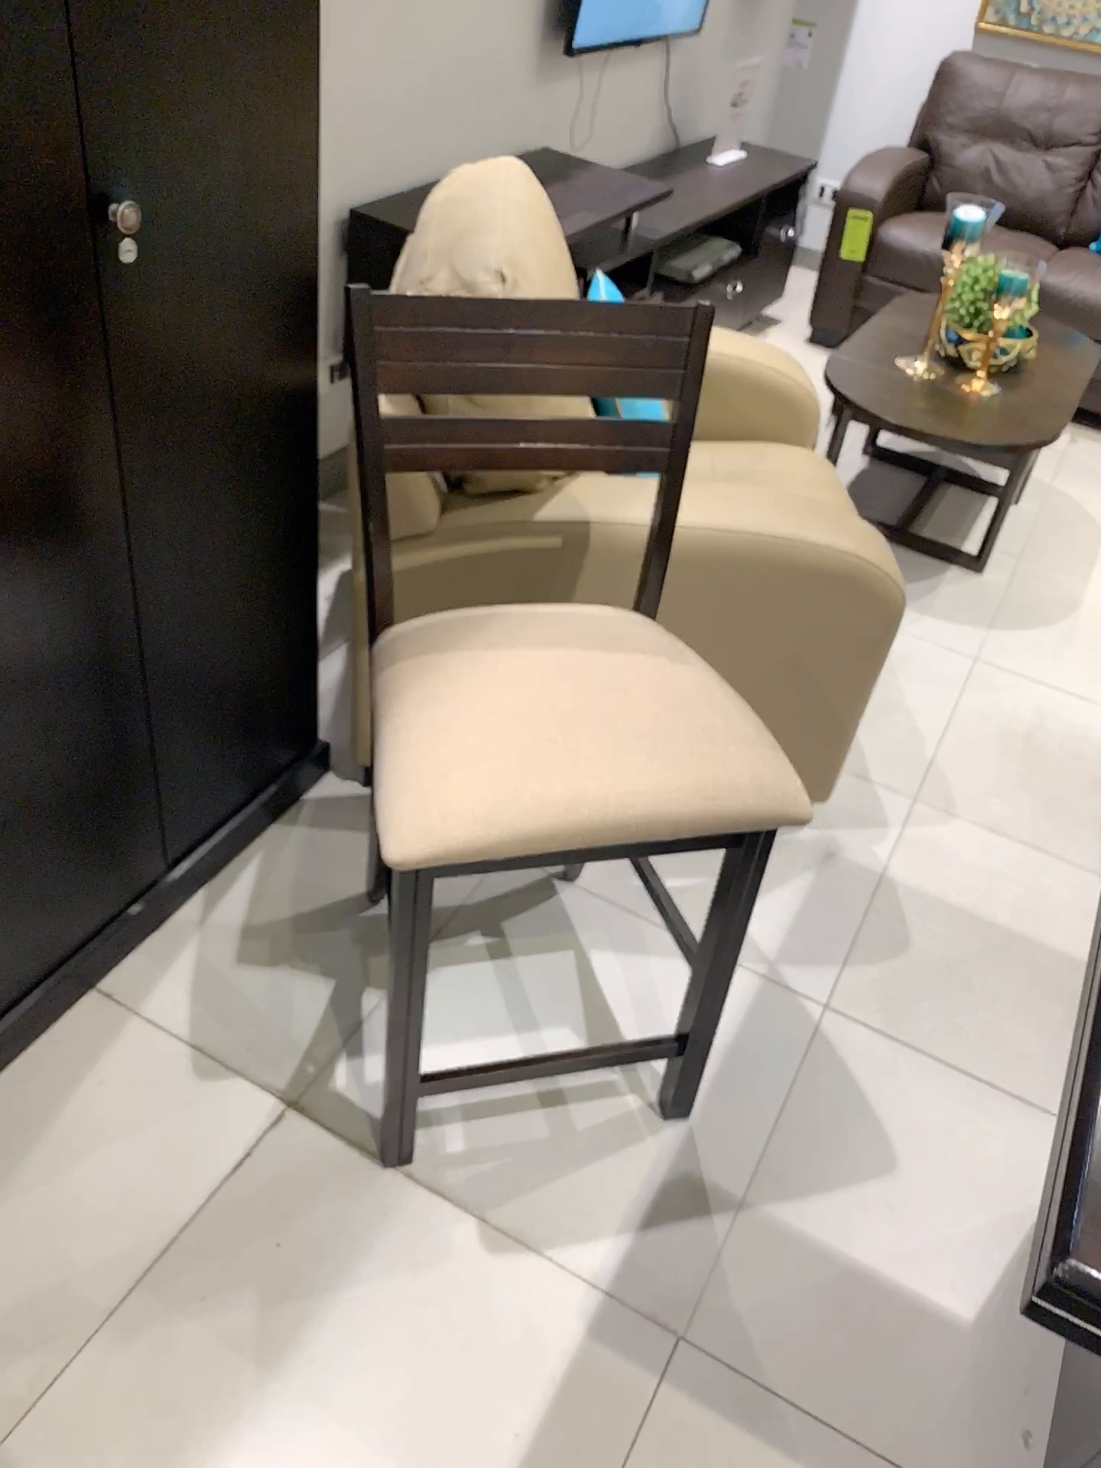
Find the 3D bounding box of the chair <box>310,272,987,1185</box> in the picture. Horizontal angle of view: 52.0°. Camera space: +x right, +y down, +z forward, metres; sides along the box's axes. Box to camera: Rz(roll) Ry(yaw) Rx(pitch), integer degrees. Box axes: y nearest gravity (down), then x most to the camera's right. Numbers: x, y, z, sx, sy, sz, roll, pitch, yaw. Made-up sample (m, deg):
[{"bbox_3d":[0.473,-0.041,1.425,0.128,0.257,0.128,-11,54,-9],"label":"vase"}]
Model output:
[{"bbox_3d":[-0.002,0.000,1.415,0.520,0.916,0.592,-4,40,-17],"label":"chair"}]
